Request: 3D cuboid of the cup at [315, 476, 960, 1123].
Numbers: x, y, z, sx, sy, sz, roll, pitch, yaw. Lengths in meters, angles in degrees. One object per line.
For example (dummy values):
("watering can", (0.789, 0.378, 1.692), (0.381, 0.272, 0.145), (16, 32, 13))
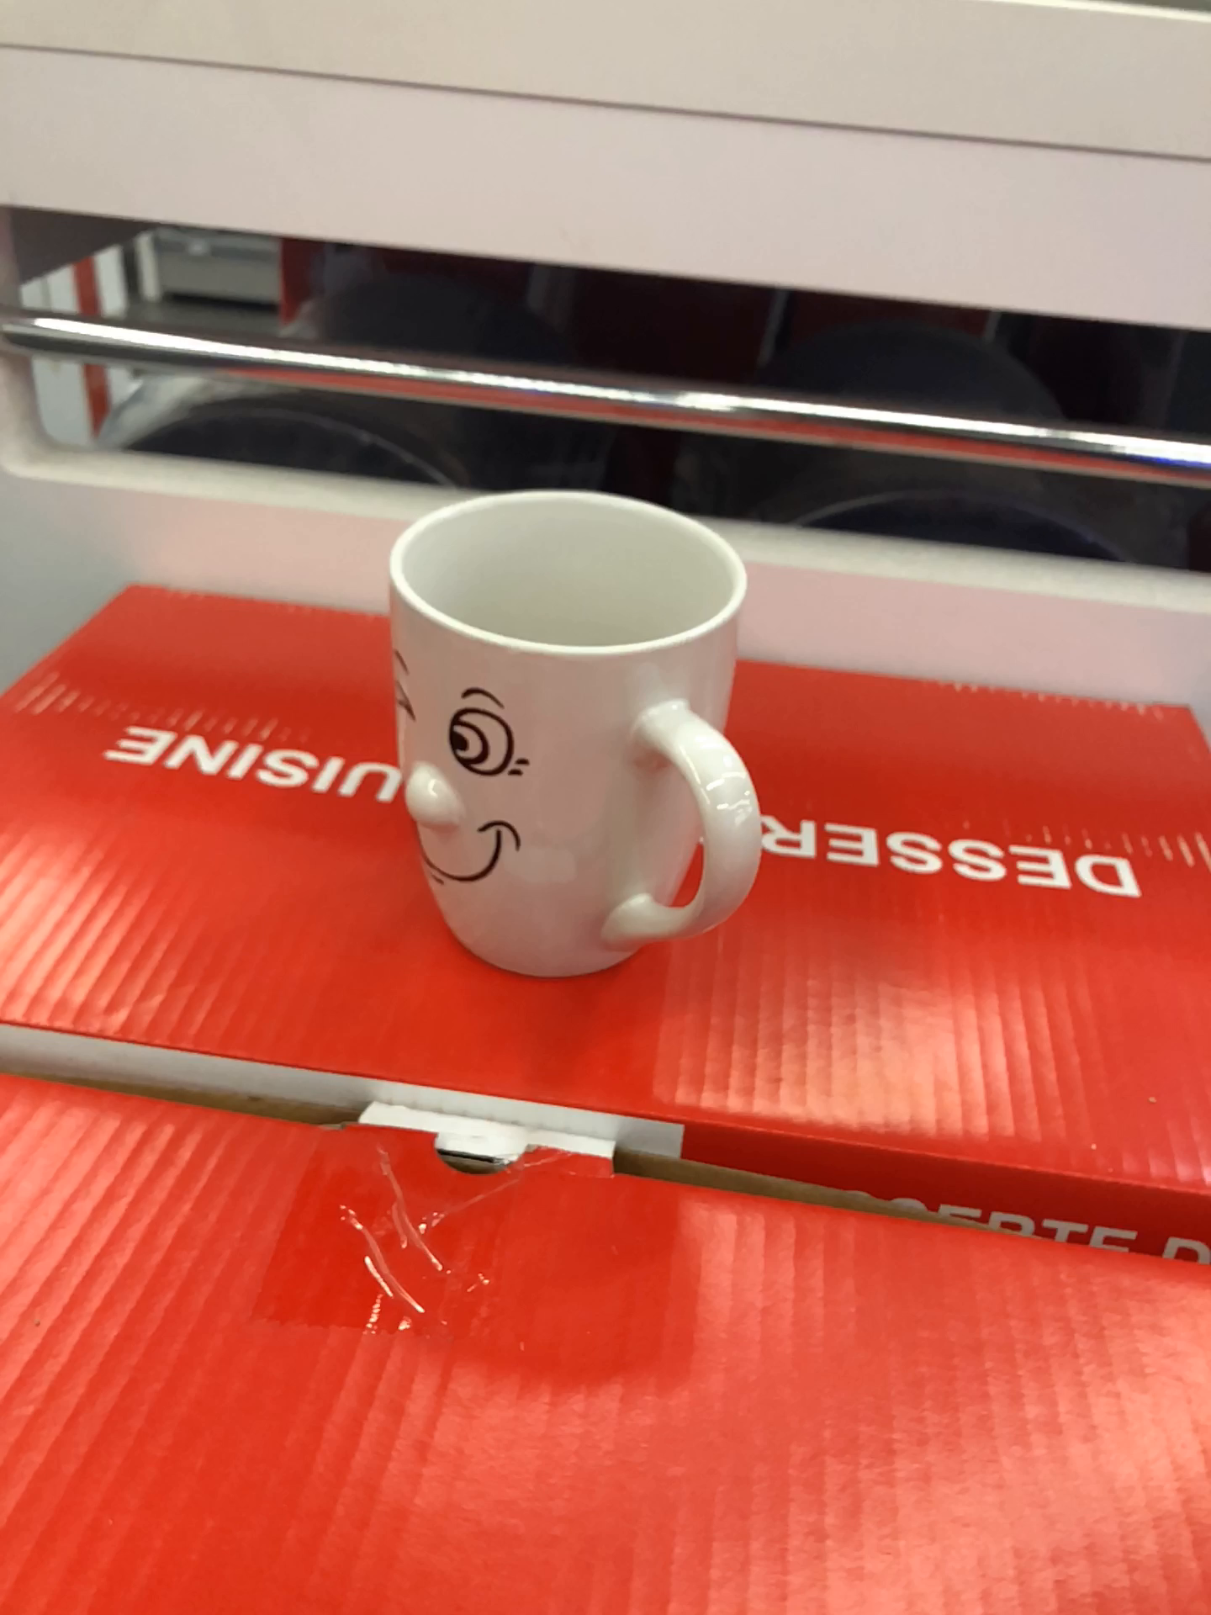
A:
("cup", (0.000, -0.012, 0.333), (0.093, 0.092, 0.124), (-18, 39, -32))
